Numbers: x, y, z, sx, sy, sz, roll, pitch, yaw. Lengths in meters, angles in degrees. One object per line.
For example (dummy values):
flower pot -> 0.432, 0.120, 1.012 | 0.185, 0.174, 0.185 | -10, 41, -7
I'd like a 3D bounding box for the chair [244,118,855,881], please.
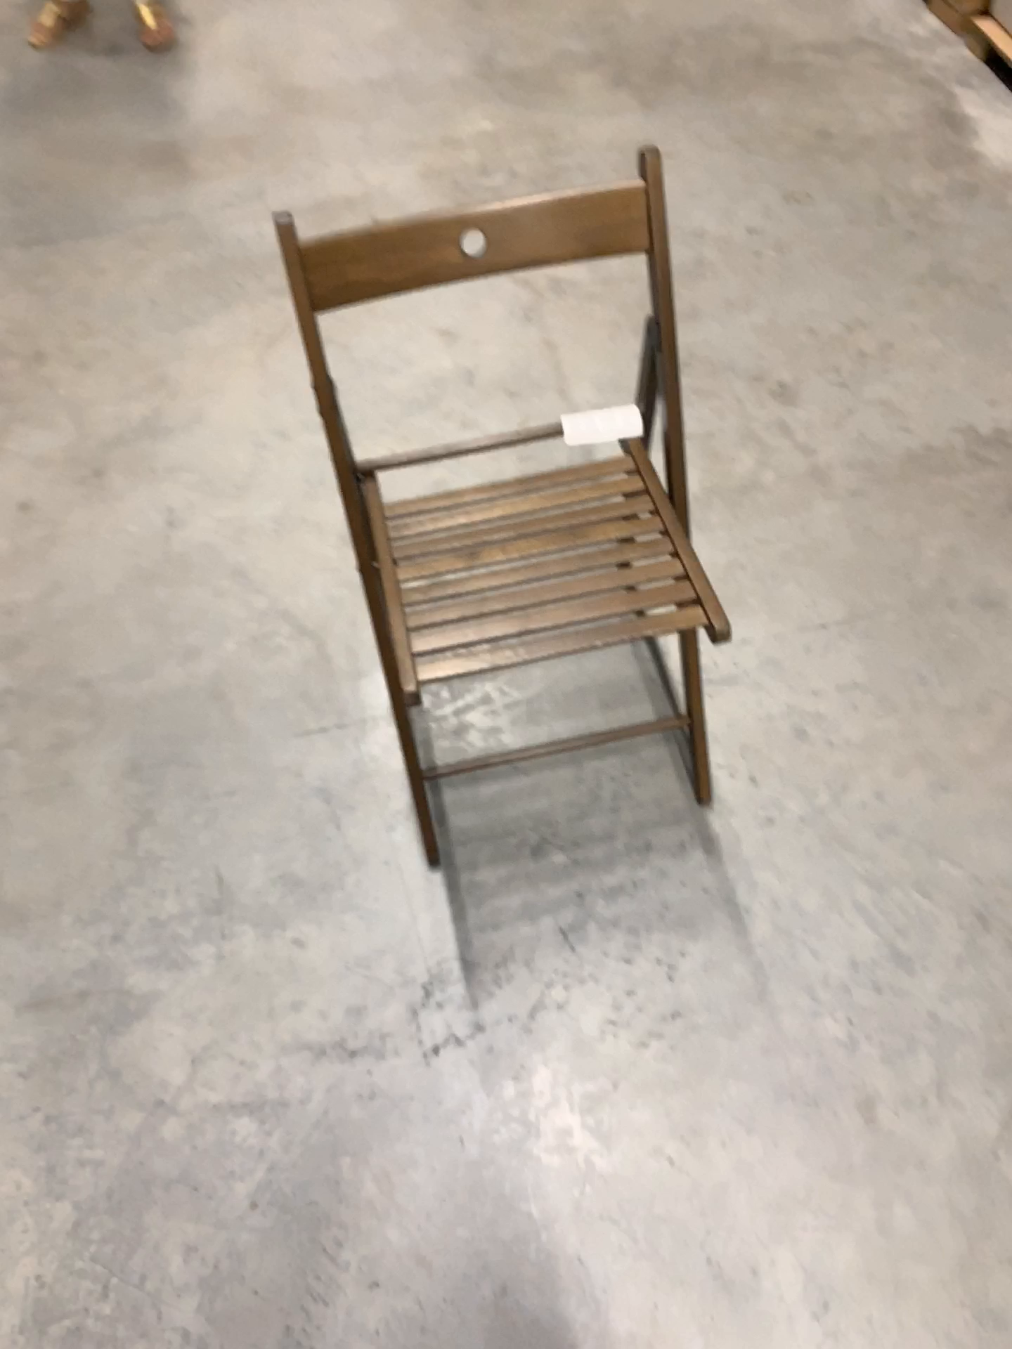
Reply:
chair -> 0.027, -0.167, 1.275 | 0.480, 0.698, 0.501 | -12, 56, -4
